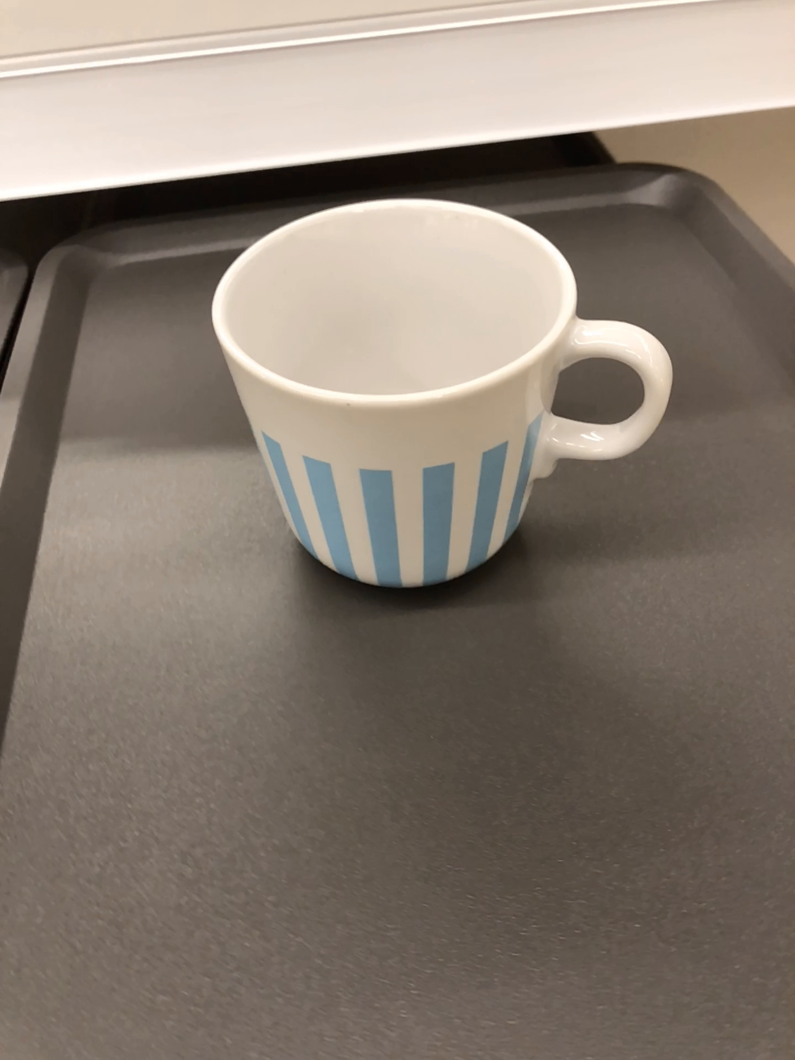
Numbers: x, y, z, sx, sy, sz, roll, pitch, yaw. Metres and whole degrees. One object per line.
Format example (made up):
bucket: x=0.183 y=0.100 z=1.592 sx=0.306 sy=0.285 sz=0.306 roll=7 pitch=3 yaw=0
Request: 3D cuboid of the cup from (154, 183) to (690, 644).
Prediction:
cup: x=0.013 y=-0.035 z=0.235 sx=0.110 sy=0.070 sz=0.090 roll=7 pitch=45 yaw=11
